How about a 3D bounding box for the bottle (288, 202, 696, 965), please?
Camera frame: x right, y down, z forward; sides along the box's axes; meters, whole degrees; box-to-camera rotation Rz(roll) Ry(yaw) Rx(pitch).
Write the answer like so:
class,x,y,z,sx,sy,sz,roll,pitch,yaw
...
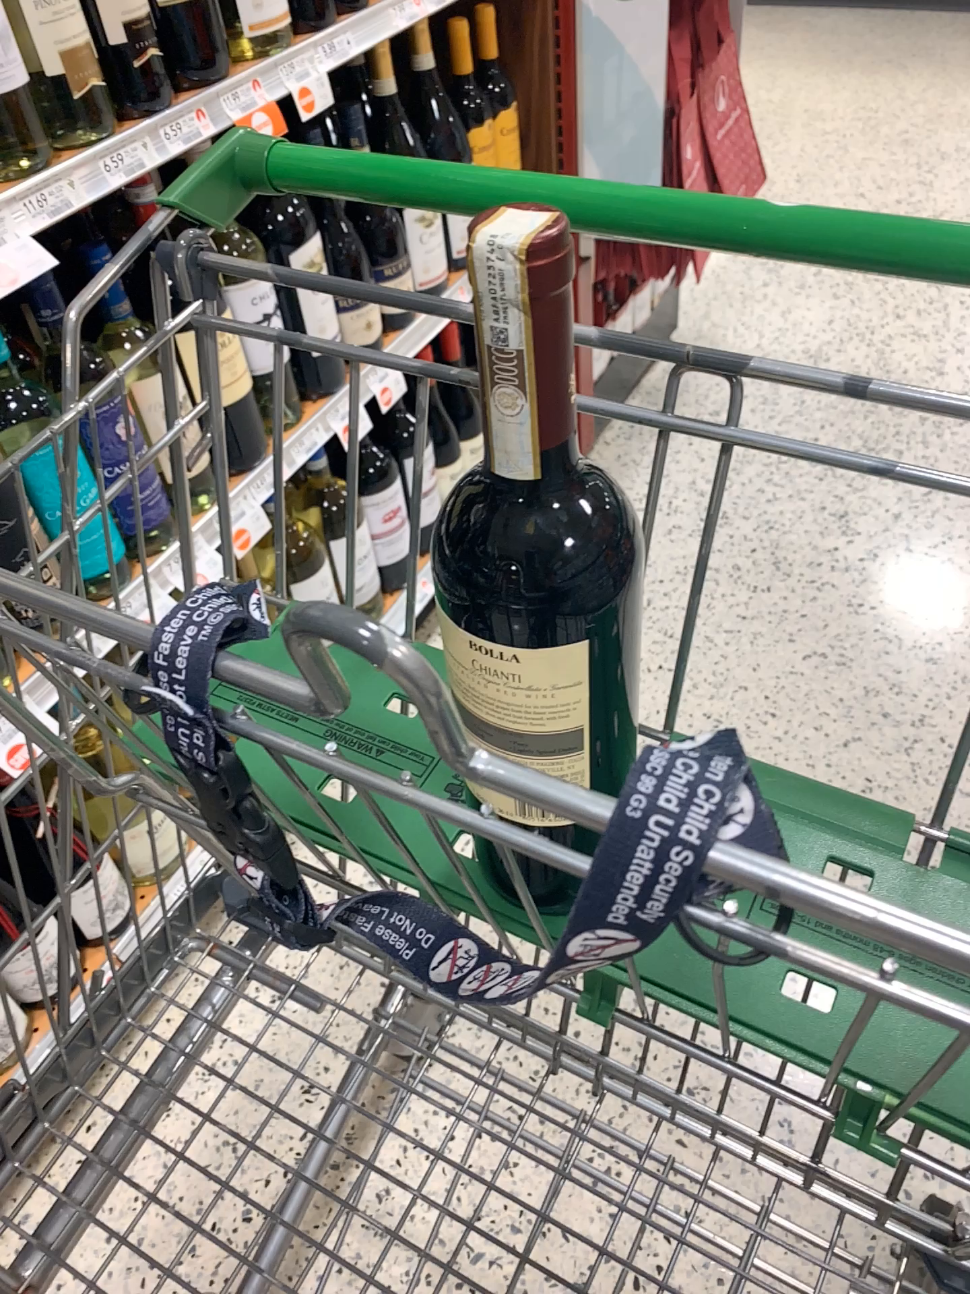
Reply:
class,x,y,z,sx,sy,sz,roll,pitch,yaw
bottle,0.013,-0.003,0.359,0.080,0.267,0.081,-3,44,3
